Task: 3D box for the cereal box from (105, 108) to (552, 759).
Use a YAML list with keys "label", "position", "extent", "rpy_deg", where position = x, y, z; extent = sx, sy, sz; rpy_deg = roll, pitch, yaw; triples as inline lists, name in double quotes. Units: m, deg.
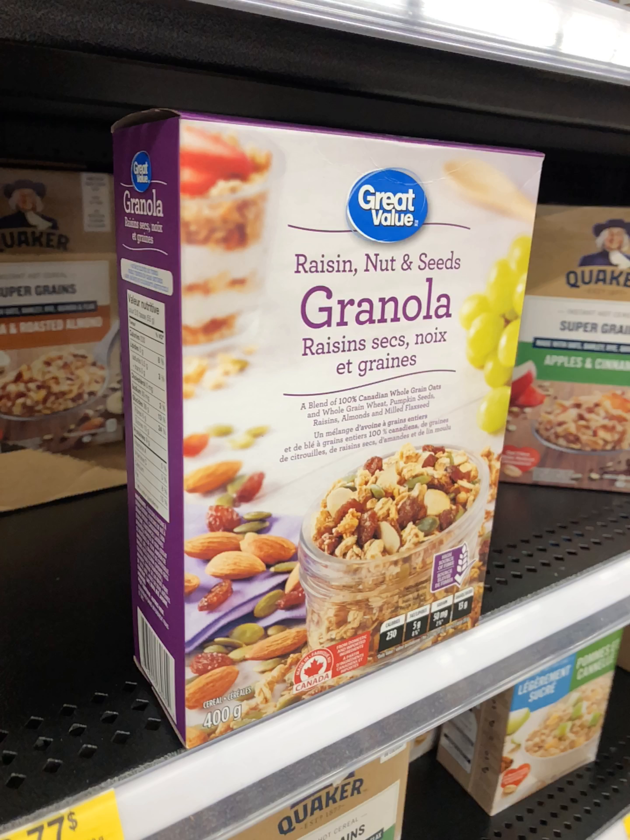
- label: "cereal box"
  position: [0.007, -0.001, 0.291]
  extent: [0.160, 0.219, 0.060]
  rpy_deg: [-10, 21, -33]
